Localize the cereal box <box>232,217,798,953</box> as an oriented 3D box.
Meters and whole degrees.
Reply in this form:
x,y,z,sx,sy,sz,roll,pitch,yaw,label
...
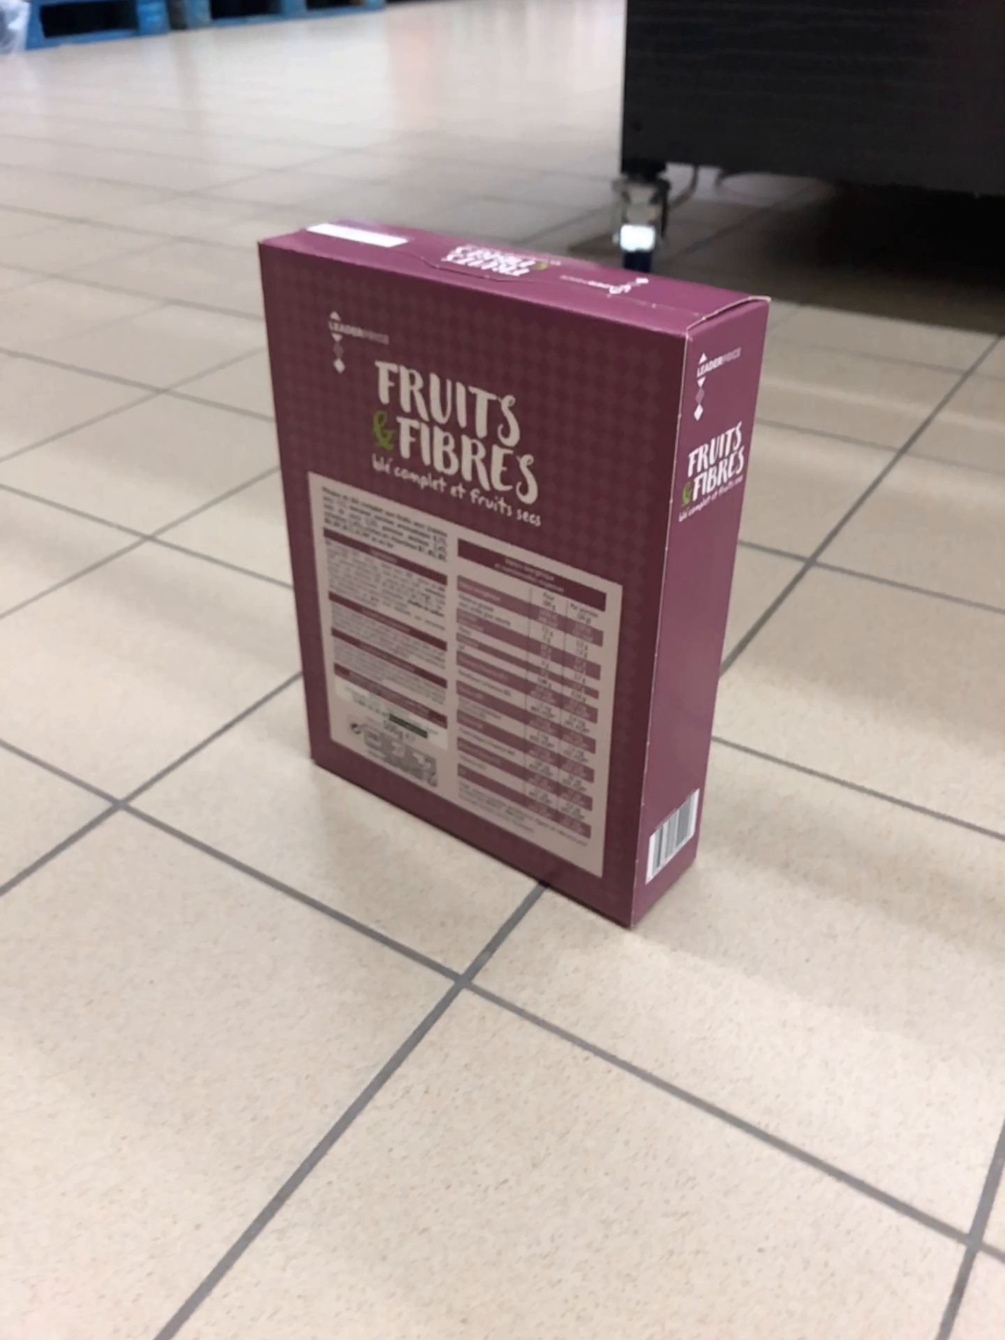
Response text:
x,y,z,sx,sy,sz,roll,pitch,yaw,label
-0.003,-0.037,0.472,0.210,0.258,0.060,22,39,31,cereal box
